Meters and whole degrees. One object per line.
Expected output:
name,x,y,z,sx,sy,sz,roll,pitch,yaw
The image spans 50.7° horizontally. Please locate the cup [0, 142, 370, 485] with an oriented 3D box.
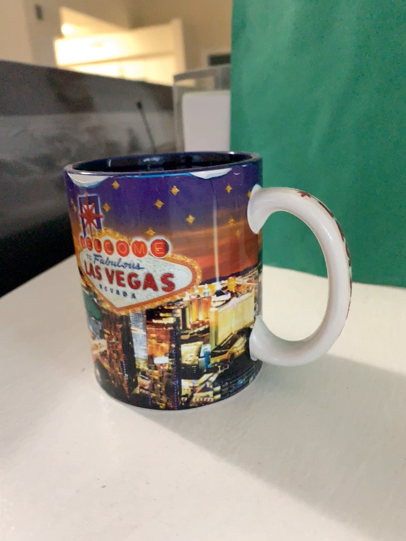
cup,-0.002,0.002,0.183,0.120,0.100,0.080,7,22,28
